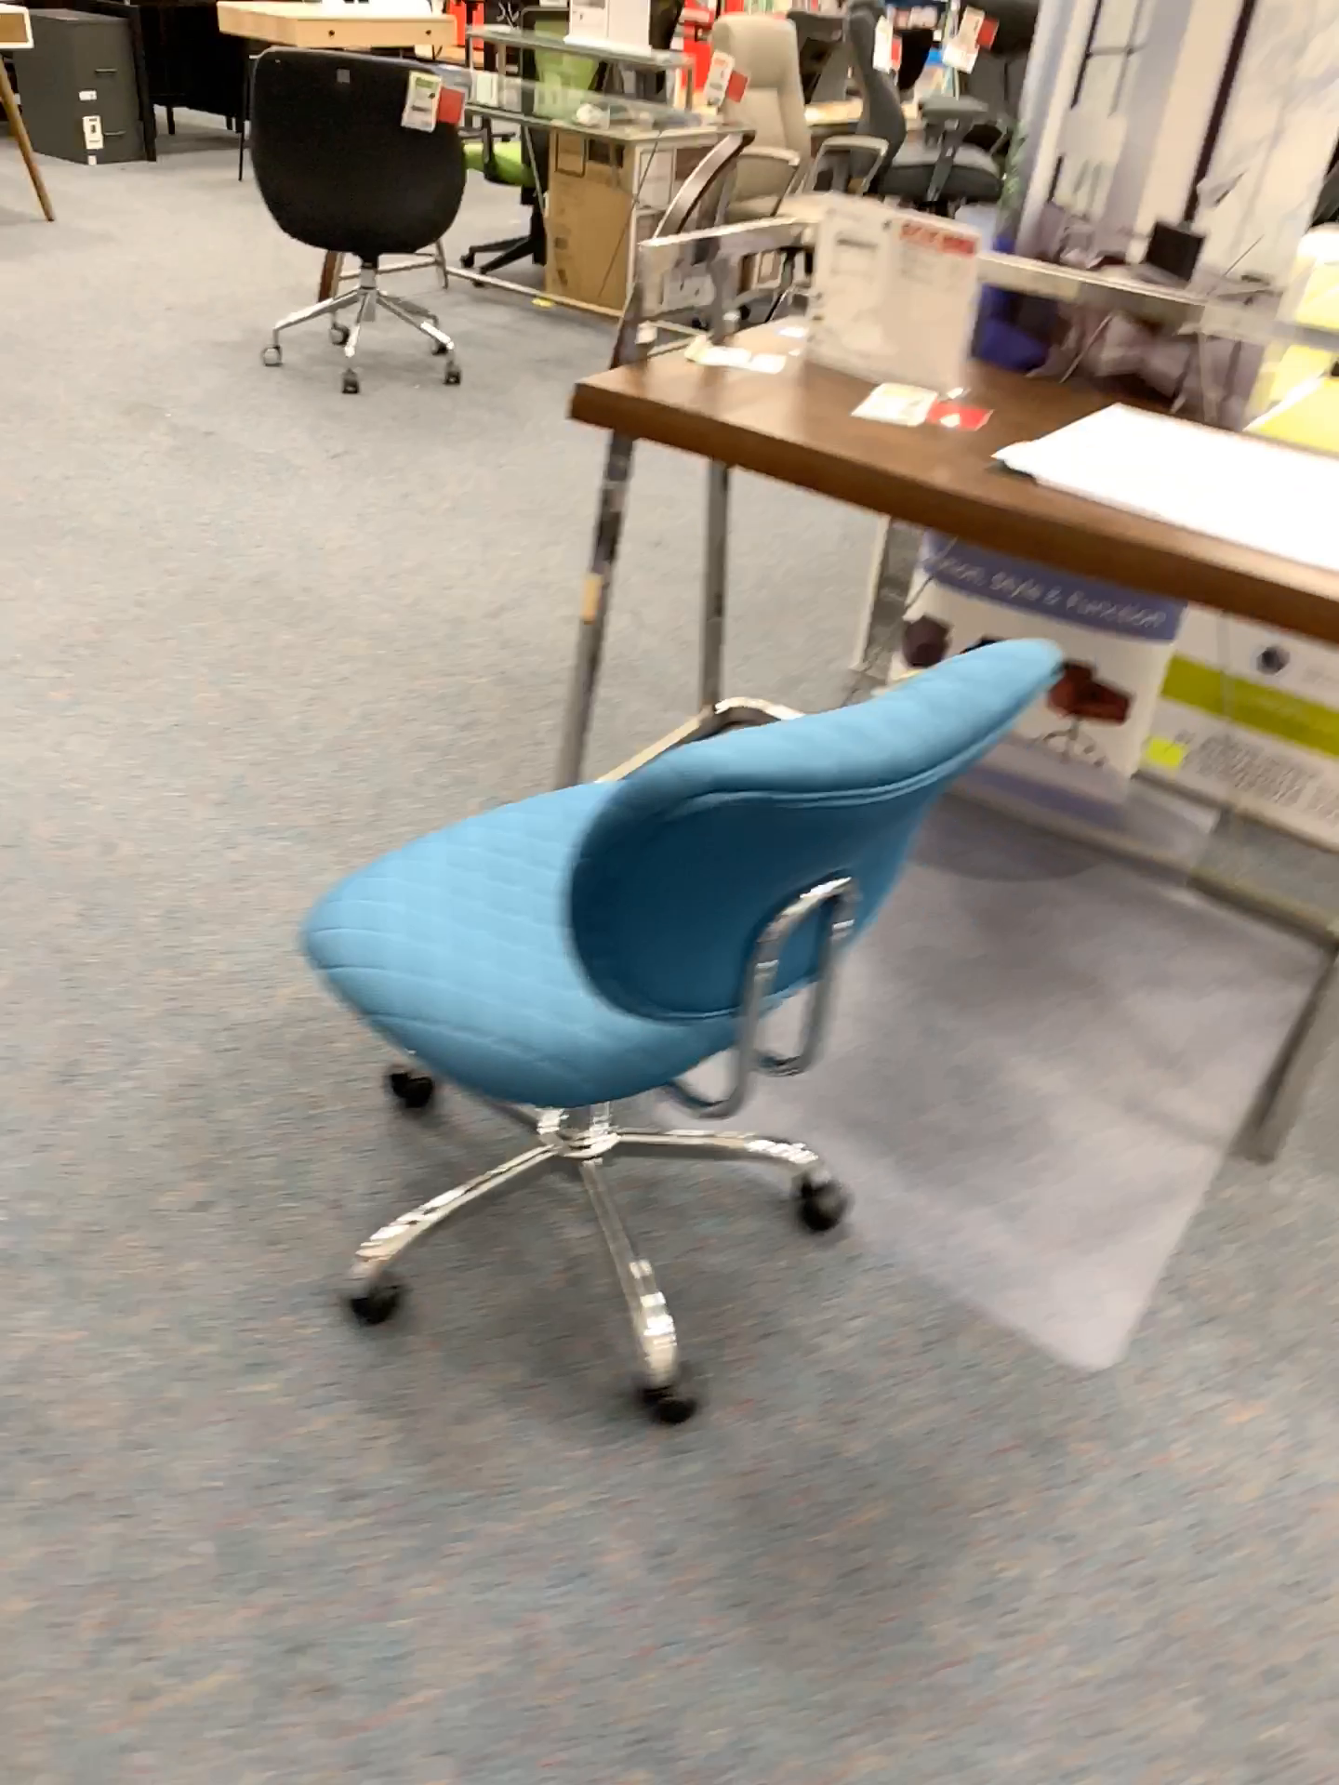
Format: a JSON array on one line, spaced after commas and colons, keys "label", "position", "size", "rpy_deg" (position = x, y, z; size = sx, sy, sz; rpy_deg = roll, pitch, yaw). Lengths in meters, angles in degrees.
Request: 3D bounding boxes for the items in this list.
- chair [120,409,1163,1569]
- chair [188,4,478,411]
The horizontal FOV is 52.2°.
[{"label": "chair", "position": [-0.066, 0.036, 1.379], "size": [0.599, 0.775, 0.666], "rpy_deg": [-24, 45, -35]}, {"label": "chair", "position": [-0.965, -2.192, 4.280], "size": [0.698, 0.874, 1.442], "rpy_deg": [1, 36, -8]}]
